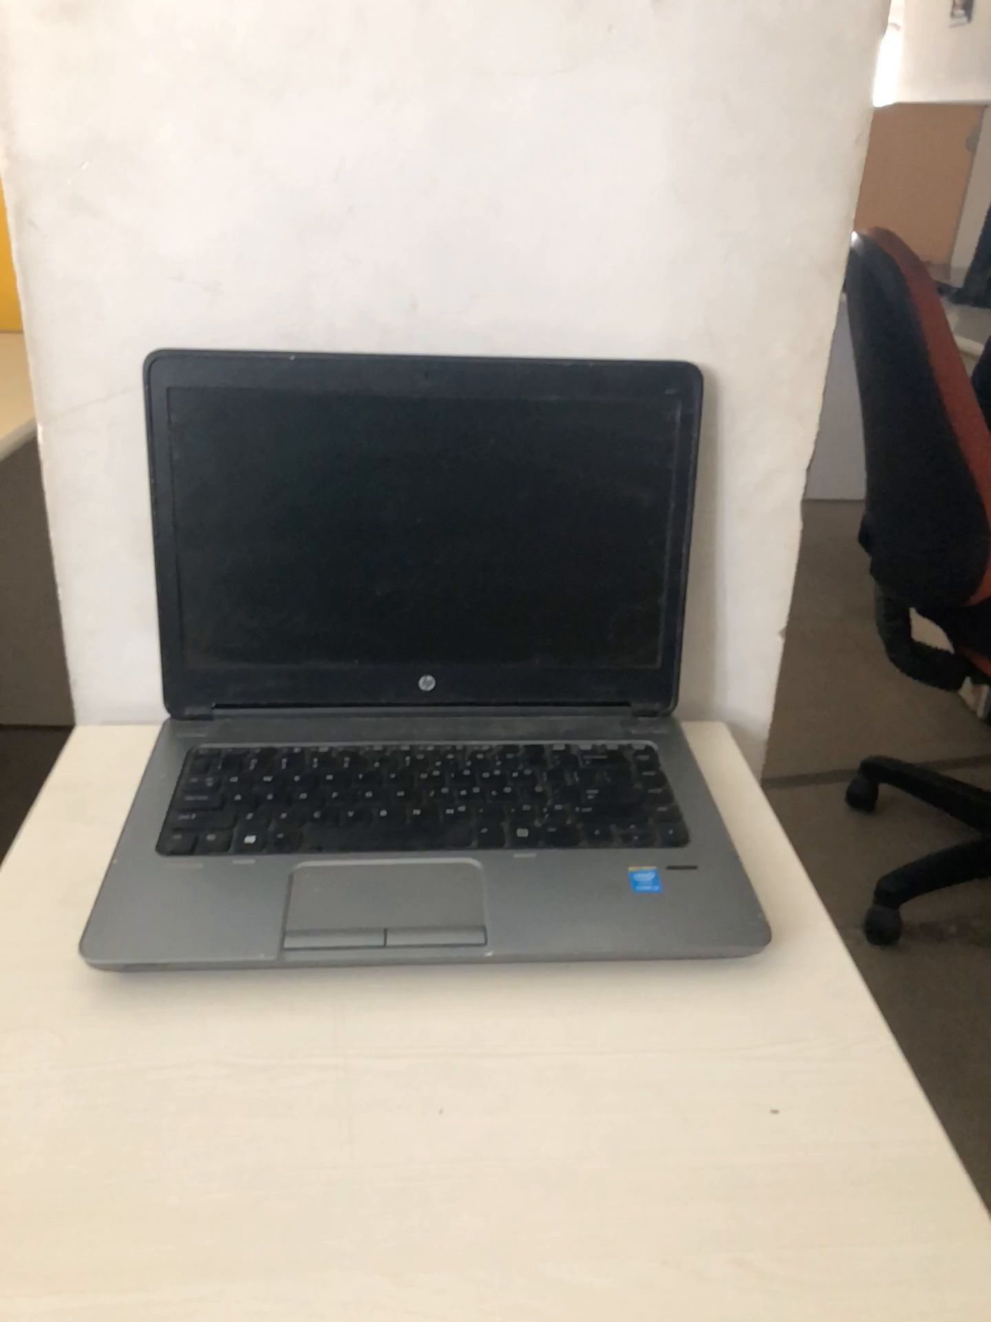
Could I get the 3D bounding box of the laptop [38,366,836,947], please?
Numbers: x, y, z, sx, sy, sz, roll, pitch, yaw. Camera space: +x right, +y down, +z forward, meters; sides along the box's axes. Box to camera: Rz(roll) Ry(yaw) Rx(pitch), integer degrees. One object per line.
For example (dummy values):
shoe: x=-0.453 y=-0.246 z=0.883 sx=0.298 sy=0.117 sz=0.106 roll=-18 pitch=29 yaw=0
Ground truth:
laptop: x=-0.026 y=-0.017 z=0.570 sx=0.304 sy=0.209 sz=0.238 roll=1 pitch=26 yaw=-5
